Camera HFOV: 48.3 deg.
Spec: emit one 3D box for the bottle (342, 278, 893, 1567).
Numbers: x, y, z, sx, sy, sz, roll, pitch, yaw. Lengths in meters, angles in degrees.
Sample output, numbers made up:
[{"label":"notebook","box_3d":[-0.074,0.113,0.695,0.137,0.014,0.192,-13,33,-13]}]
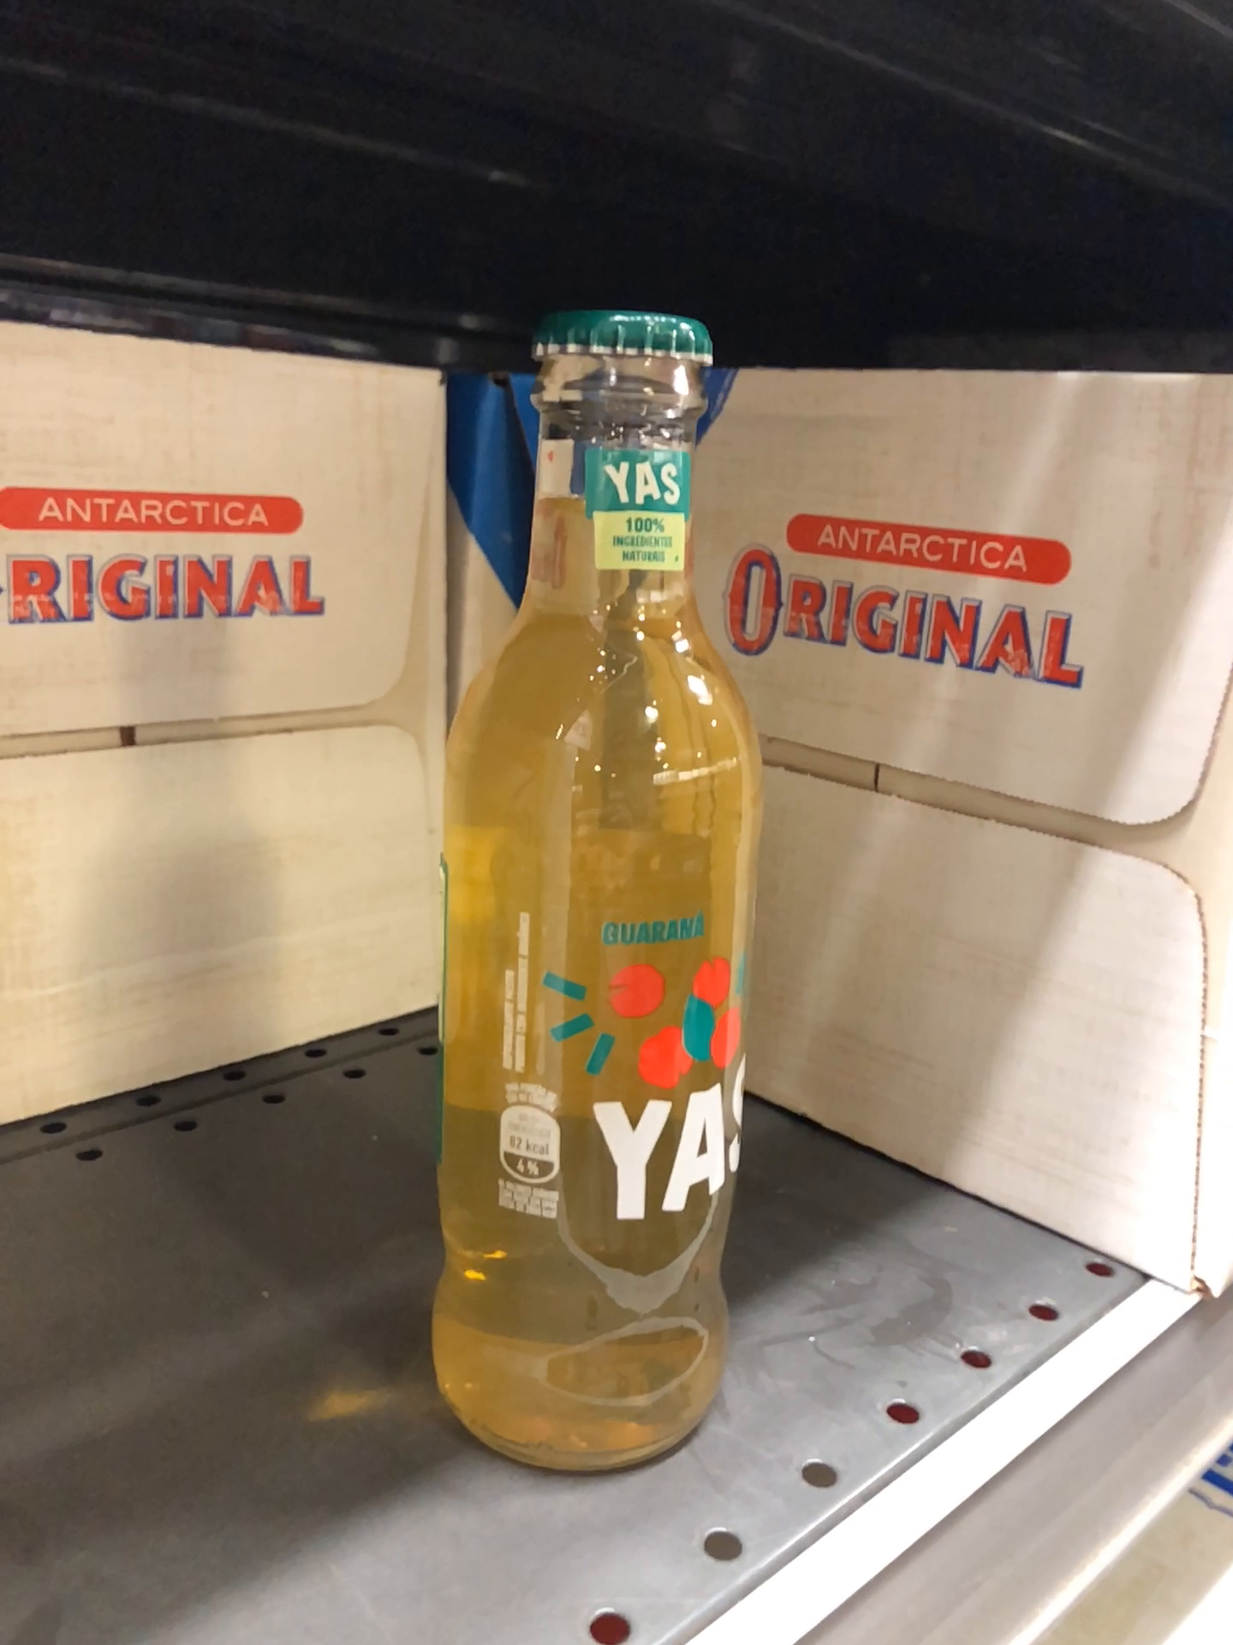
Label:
[{"label":"bottle","box_3d":[-0.005,0.015,0.242,0.060,0.199,0.060,4,15,-1]}]
